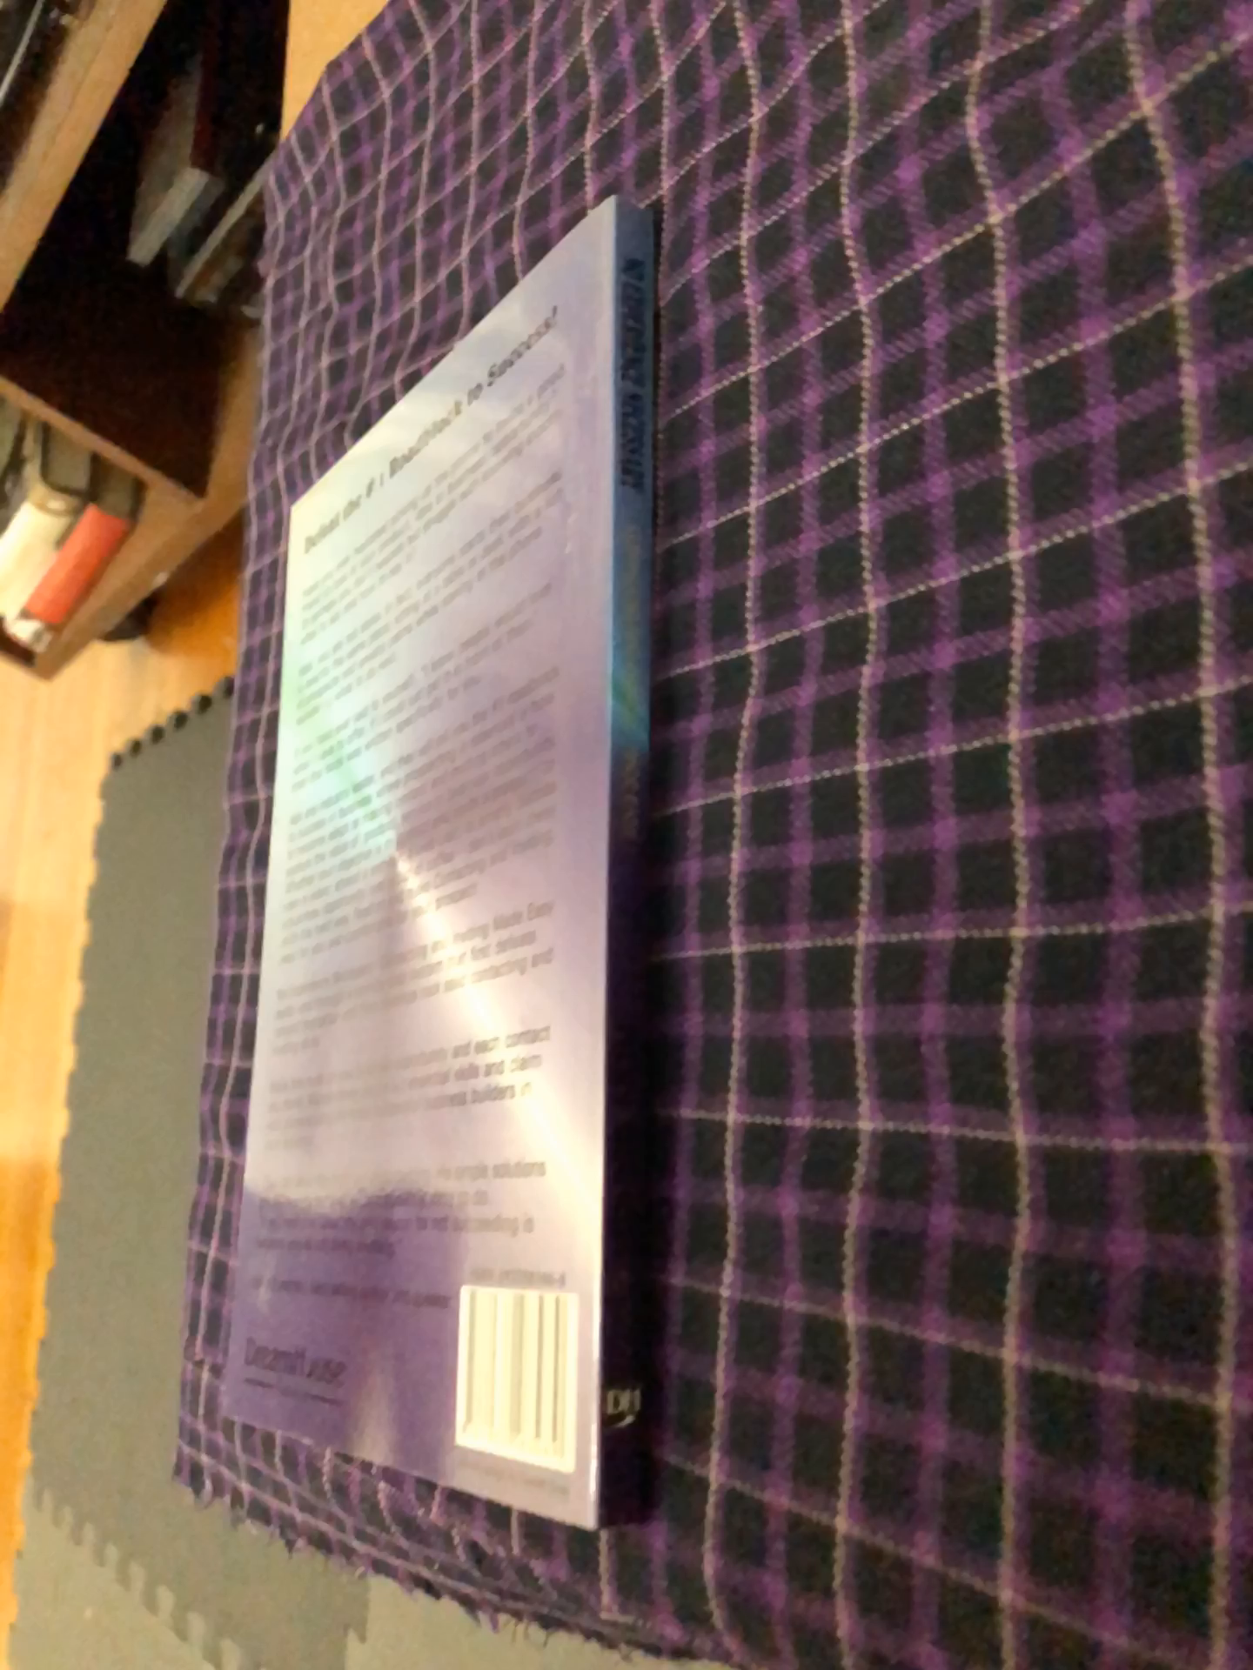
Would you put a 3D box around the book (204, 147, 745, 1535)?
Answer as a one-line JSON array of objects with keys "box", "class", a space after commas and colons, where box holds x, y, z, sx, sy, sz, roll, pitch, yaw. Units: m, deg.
[{"box": [-0.039, 0.005, 0.282, 0.161, 0.020, 0.220, -20, 65, 51], "class": "book"}]
